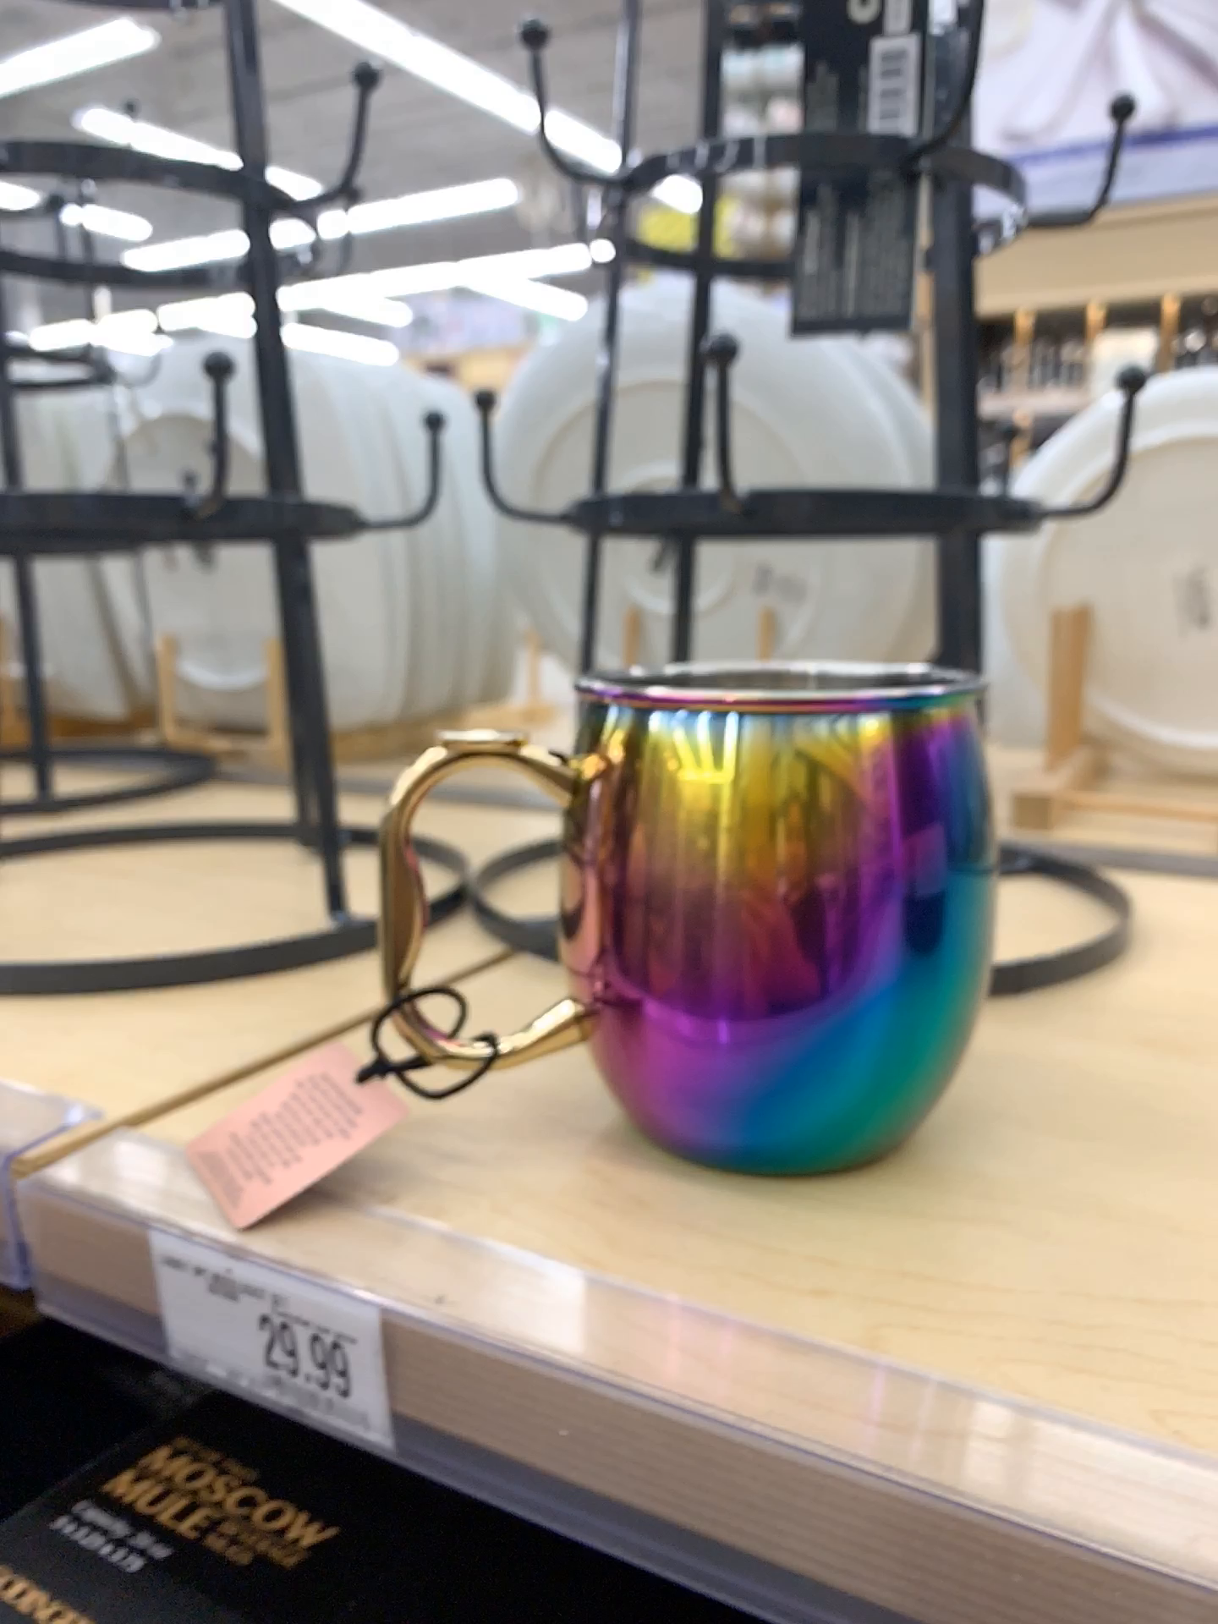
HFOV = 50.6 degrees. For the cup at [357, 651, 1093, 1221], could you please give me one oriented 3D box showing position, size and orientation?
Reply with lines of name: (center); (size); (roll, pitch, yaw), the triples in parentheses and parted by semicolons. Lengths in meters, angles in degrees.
cup: (0.016, 0.016, 0.270); (0.130, 0.089, 0.085); (-3, 11, -11)
